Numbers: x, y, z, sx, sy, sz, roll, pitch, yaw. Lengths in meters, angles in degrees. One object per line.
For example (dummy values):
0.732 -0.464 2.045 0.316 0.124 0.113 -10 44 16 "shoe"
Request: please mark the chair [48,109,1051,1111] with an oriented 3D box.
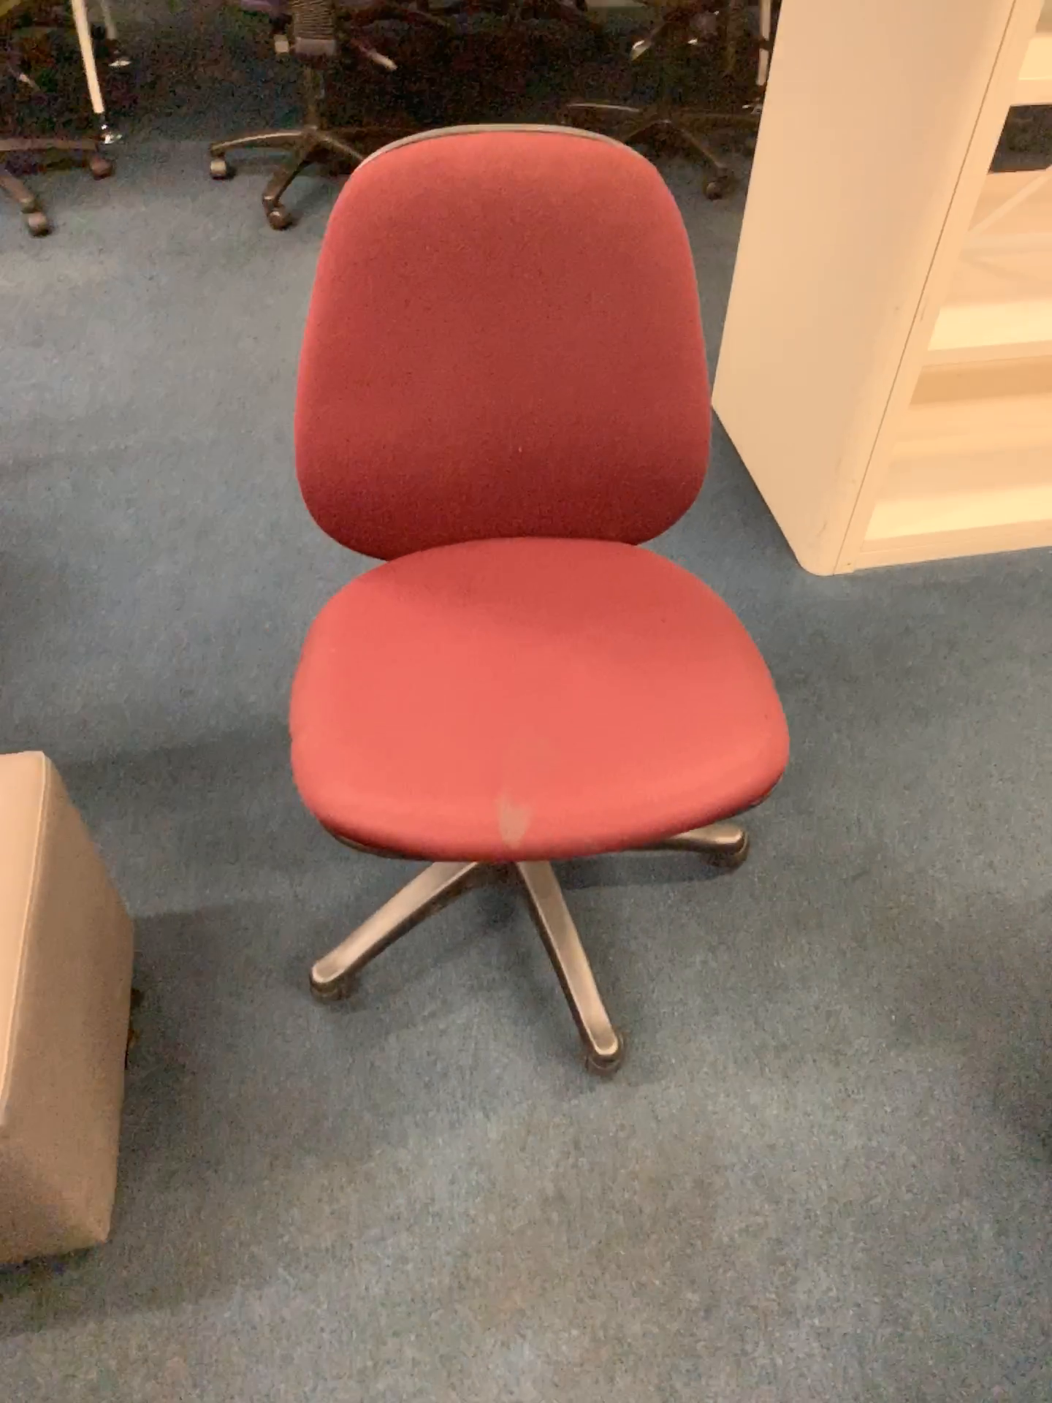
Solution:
0.004 -0.085 1.159 0.650 0.783 0.696 -4 49 -5 "chair"
